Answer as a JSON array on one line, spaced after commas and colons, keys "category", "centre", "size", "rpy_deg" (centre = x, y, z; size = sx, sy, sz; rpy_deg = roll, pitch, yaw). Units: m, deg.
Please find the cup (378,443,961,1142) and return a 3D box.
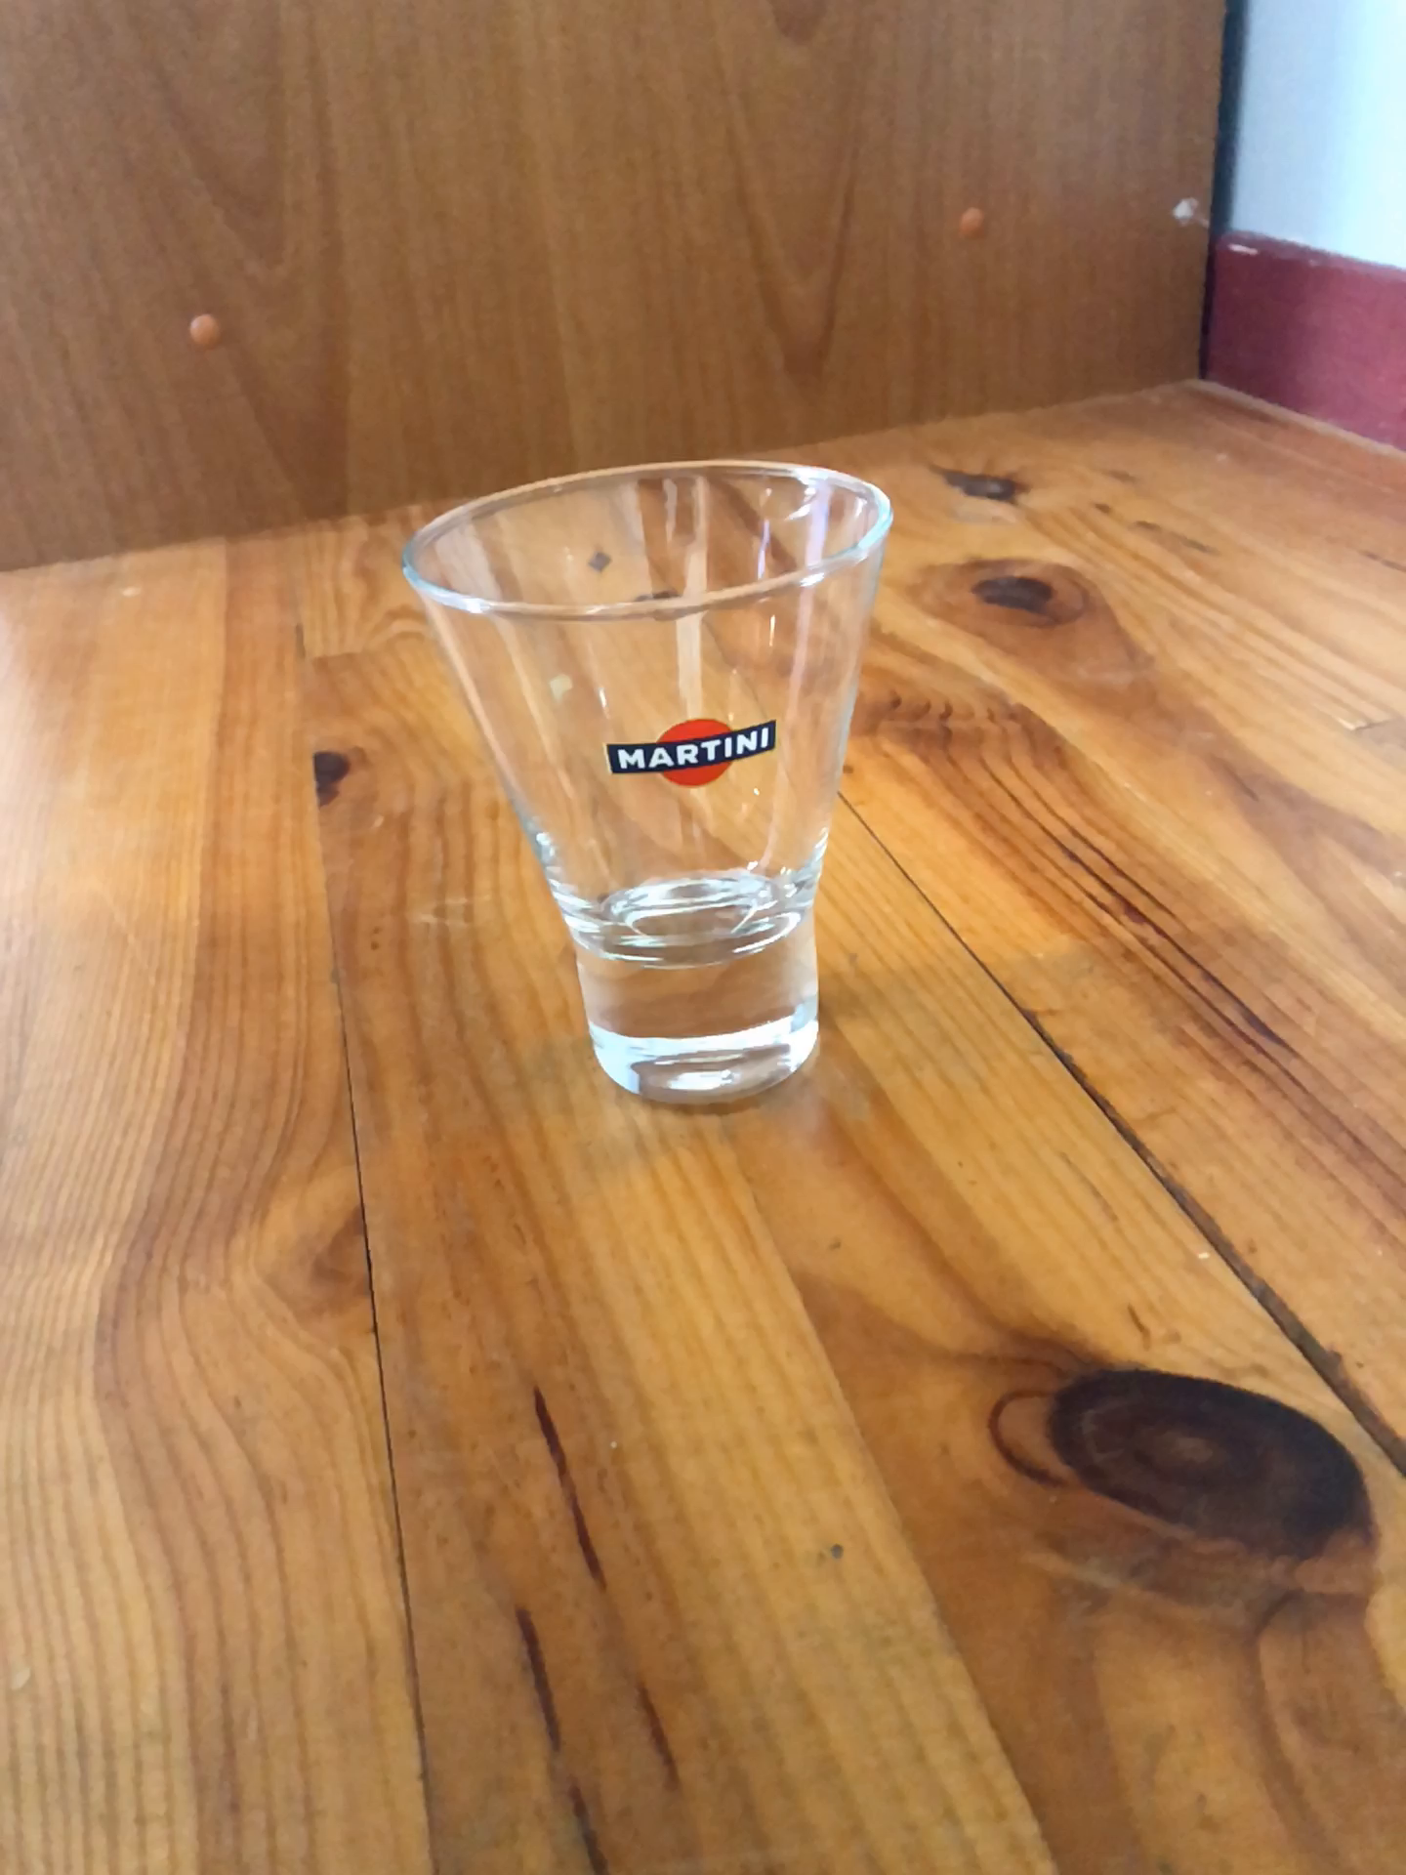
[{"category": "cup", "centre": [-0.005, -0.032, 0.304], "size": [0.091, 0.097, 0.088], "rpy_deg": [-4, 32, 2]}]
